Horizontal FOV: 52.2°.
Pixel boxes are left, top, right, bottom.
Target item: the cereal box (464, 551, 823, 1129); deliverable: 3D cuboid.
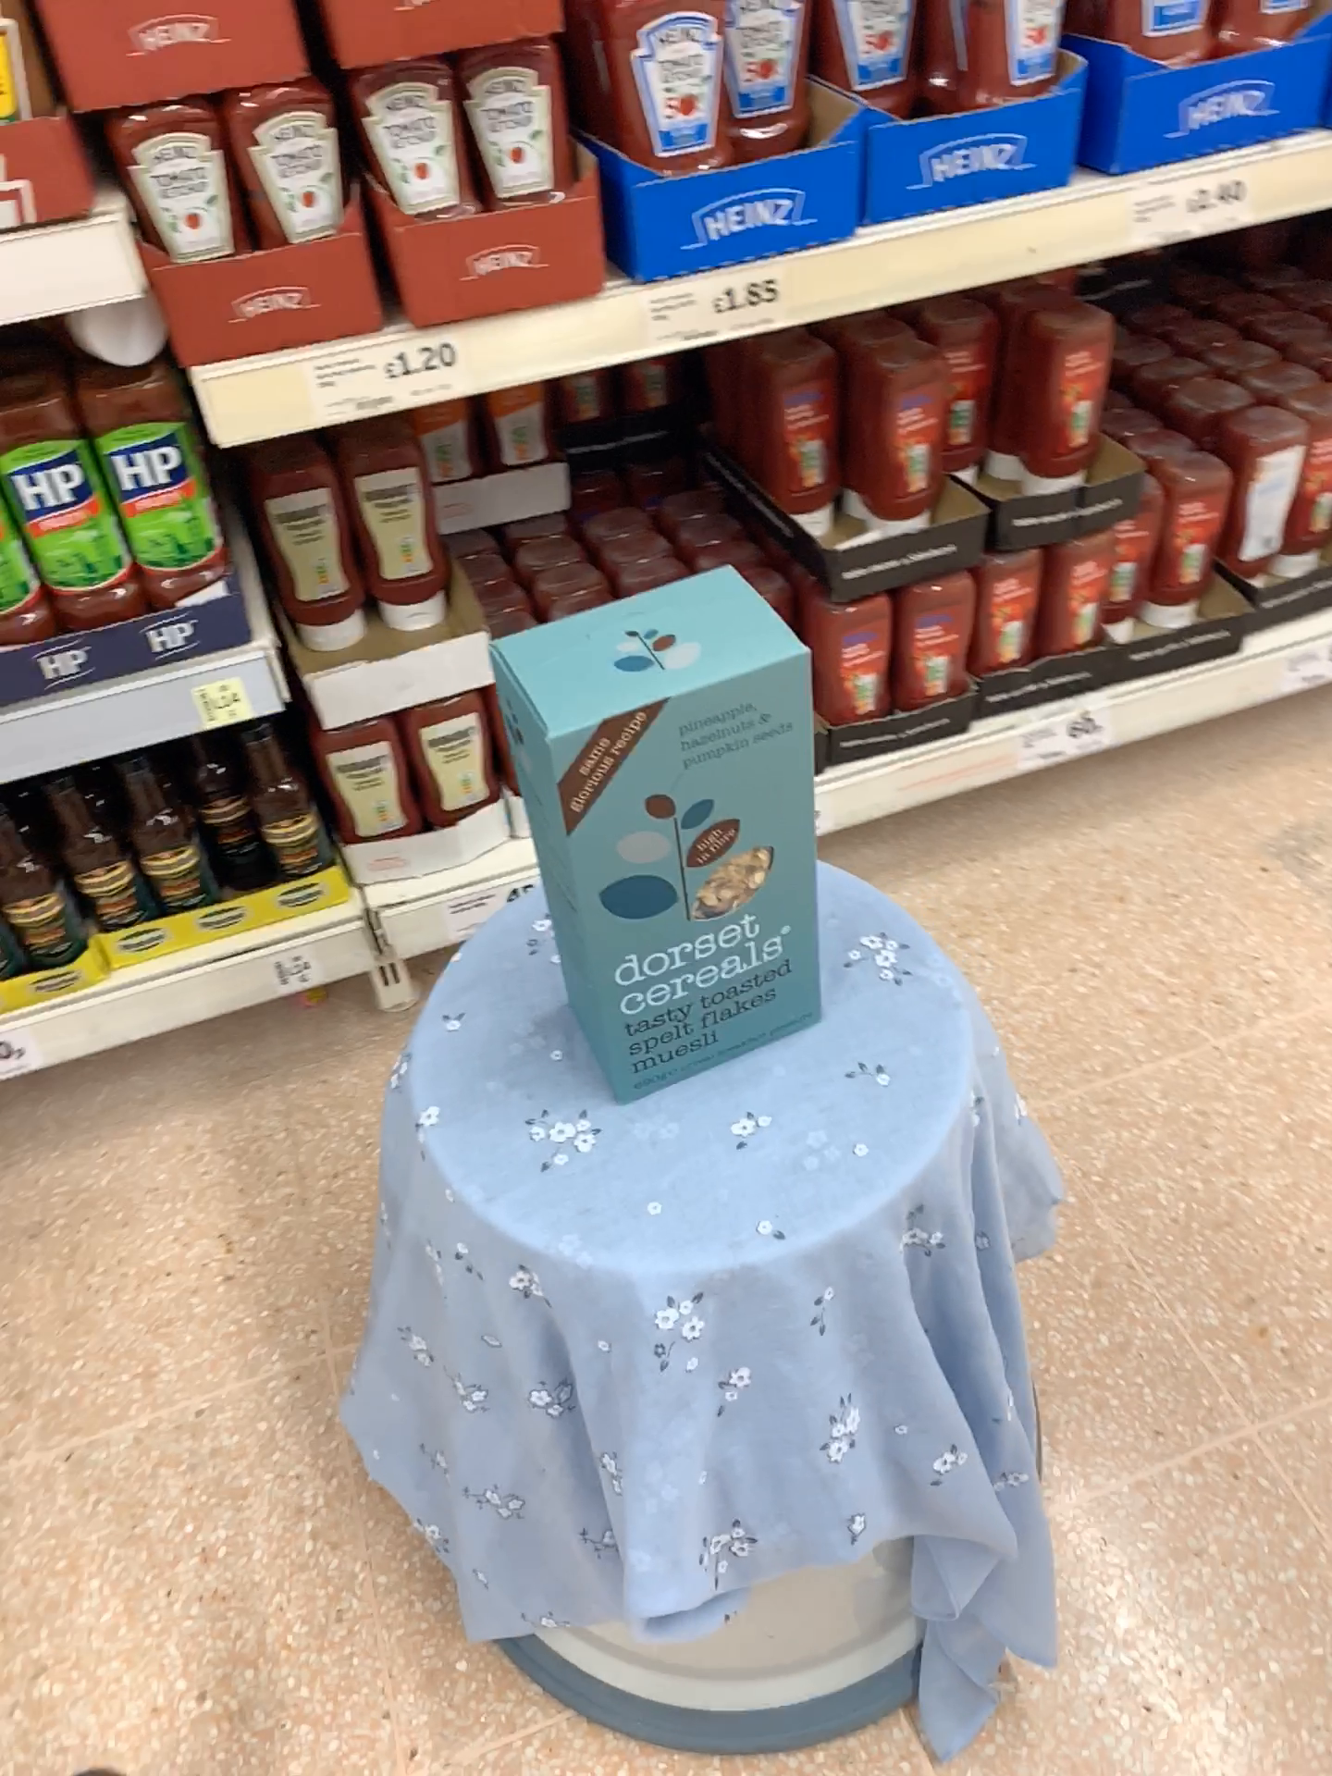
[{"bbox_3d":[-0.002,-0.015,0.640,0.120,0.238,0.091,-21,44,-15],"label":"cereal box"}]
